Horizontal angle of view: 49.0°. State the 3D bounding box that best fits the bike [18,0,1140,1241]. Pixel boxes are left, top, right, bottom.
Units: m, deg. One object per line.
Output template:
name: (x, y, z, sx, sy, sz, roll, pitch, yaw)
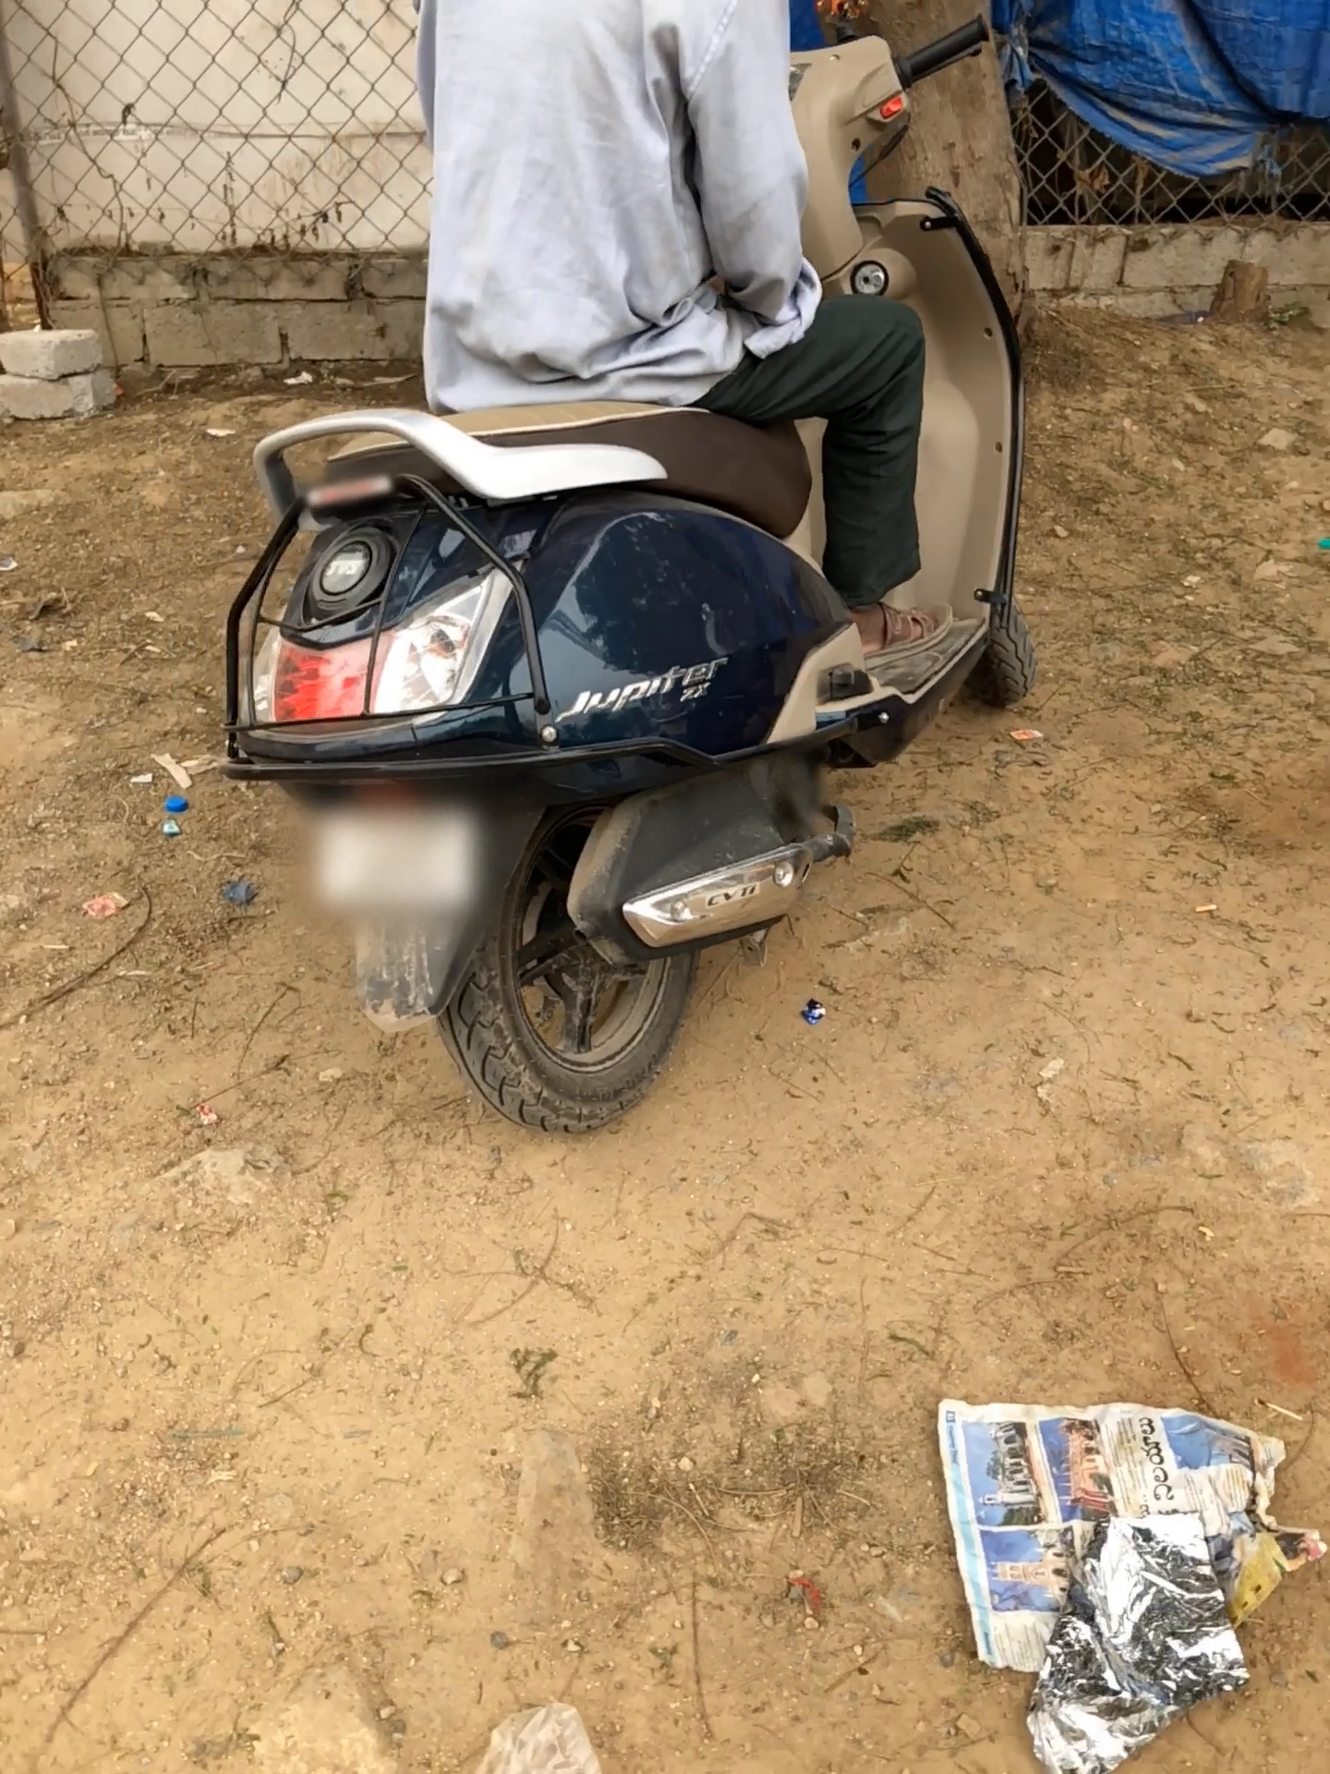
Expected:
bike: (-0.001, -0.622, 1.871, 0.634, 1.120, 1.350, 17, 43, 25)
